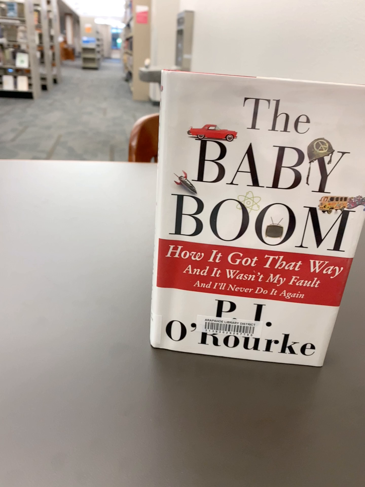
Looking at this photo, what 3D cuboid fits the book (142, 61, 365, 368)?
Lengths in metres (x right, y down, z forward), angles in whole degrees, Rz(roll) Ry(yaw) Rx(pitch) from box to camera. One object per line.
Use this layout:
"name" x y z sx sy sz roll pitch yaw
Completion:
"book" 0.053 -0.011 0.301 0.160 0.231 0.030 5 23 2
